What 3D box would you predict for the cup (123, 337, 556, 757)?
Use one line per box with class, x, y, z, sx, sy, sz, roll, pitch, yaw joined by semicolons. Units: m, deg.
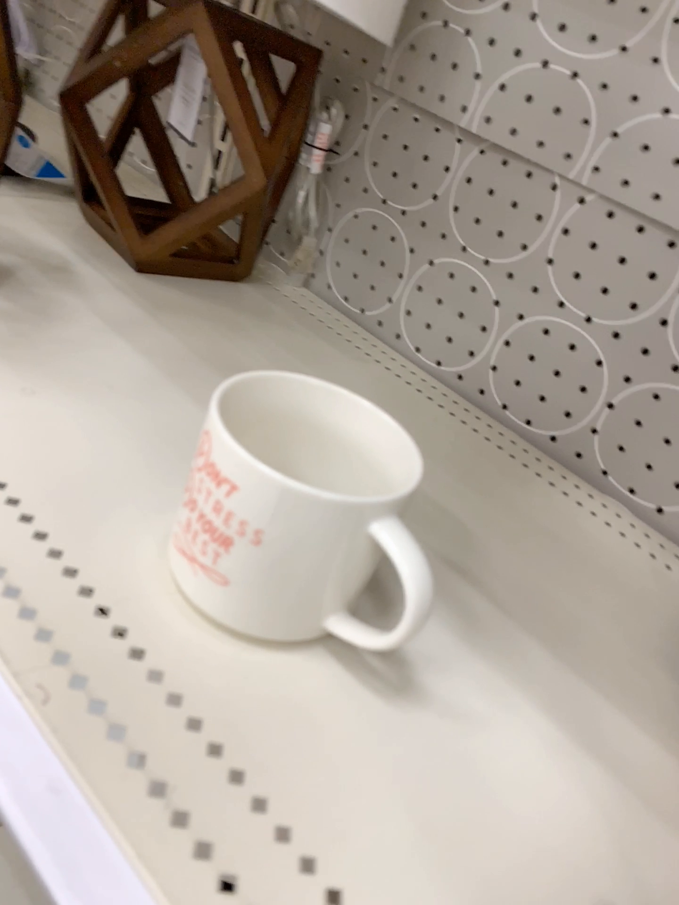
cup;-0.007;0.028;0.313;0.150;0.090;0.100;41;35;28
